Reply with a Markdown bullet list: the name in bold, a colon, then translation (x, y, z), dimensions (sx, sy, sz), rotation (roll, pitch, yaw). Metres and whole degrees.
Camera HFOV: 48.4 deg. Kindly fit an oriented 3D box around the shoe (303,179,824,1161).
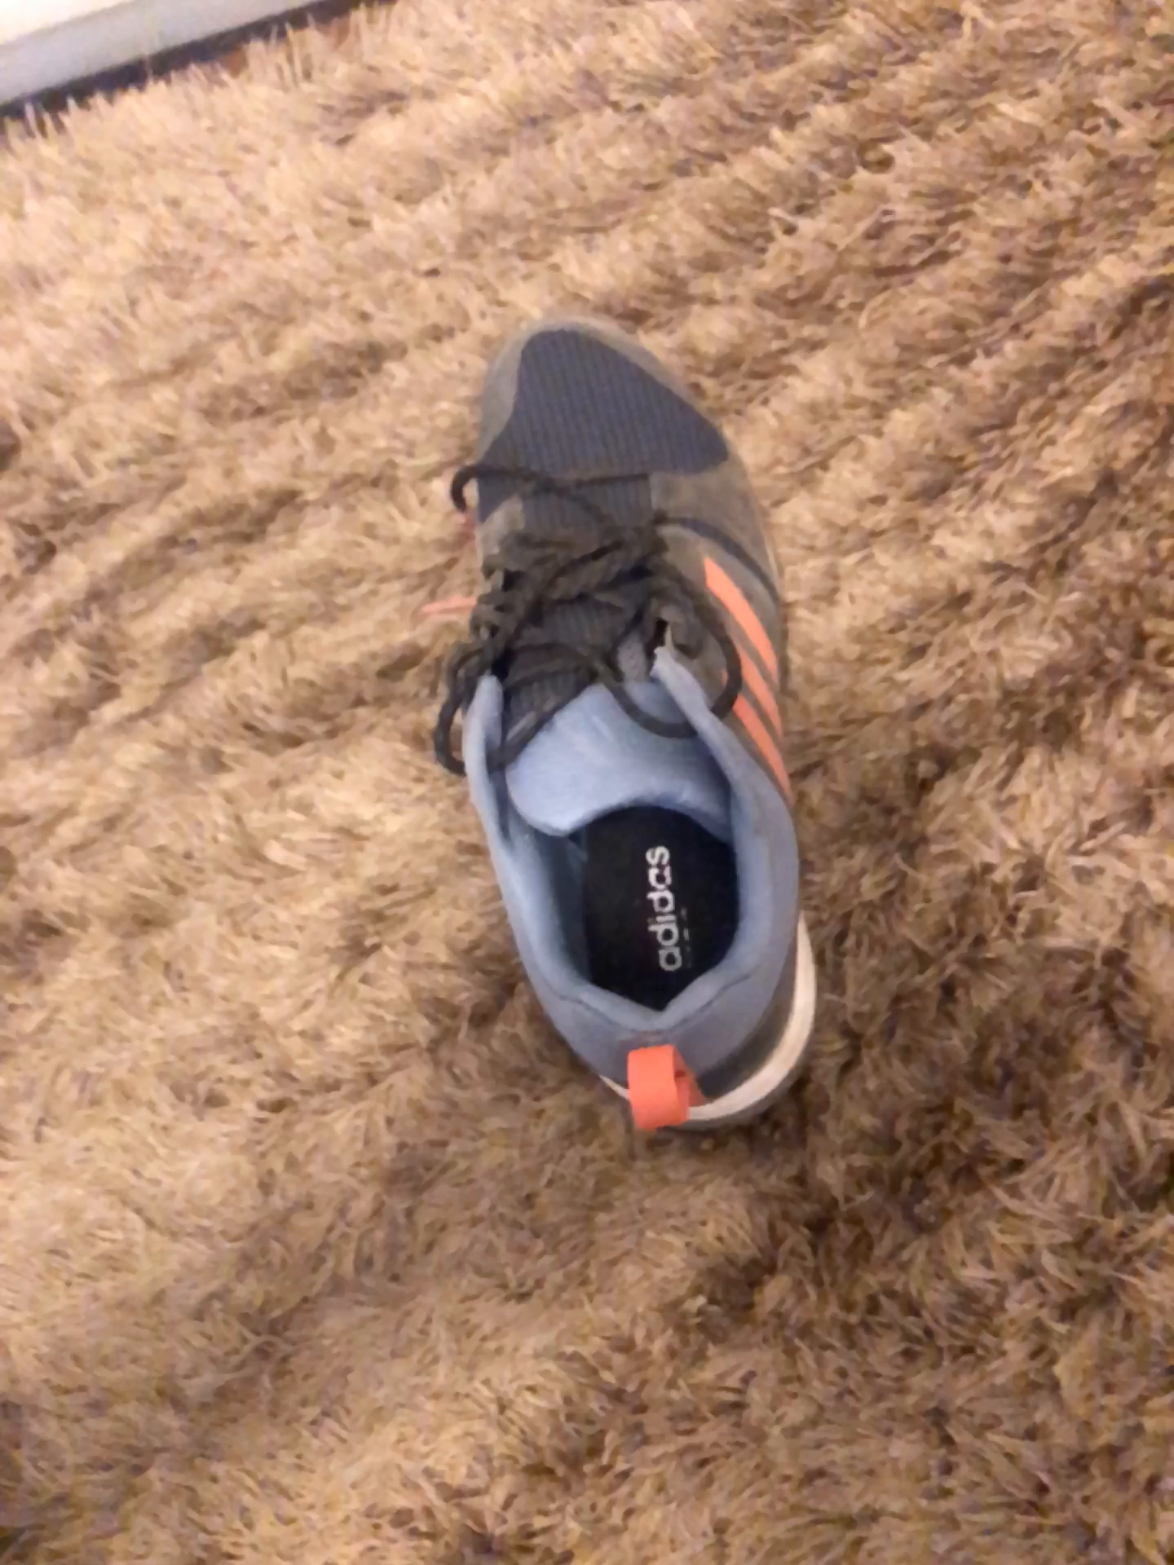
- **shoe**: translation (-0.006, -0.029, 0.421), dimensions (0.113, 0.110, 0.275), rotation (-10, 74, 9)
